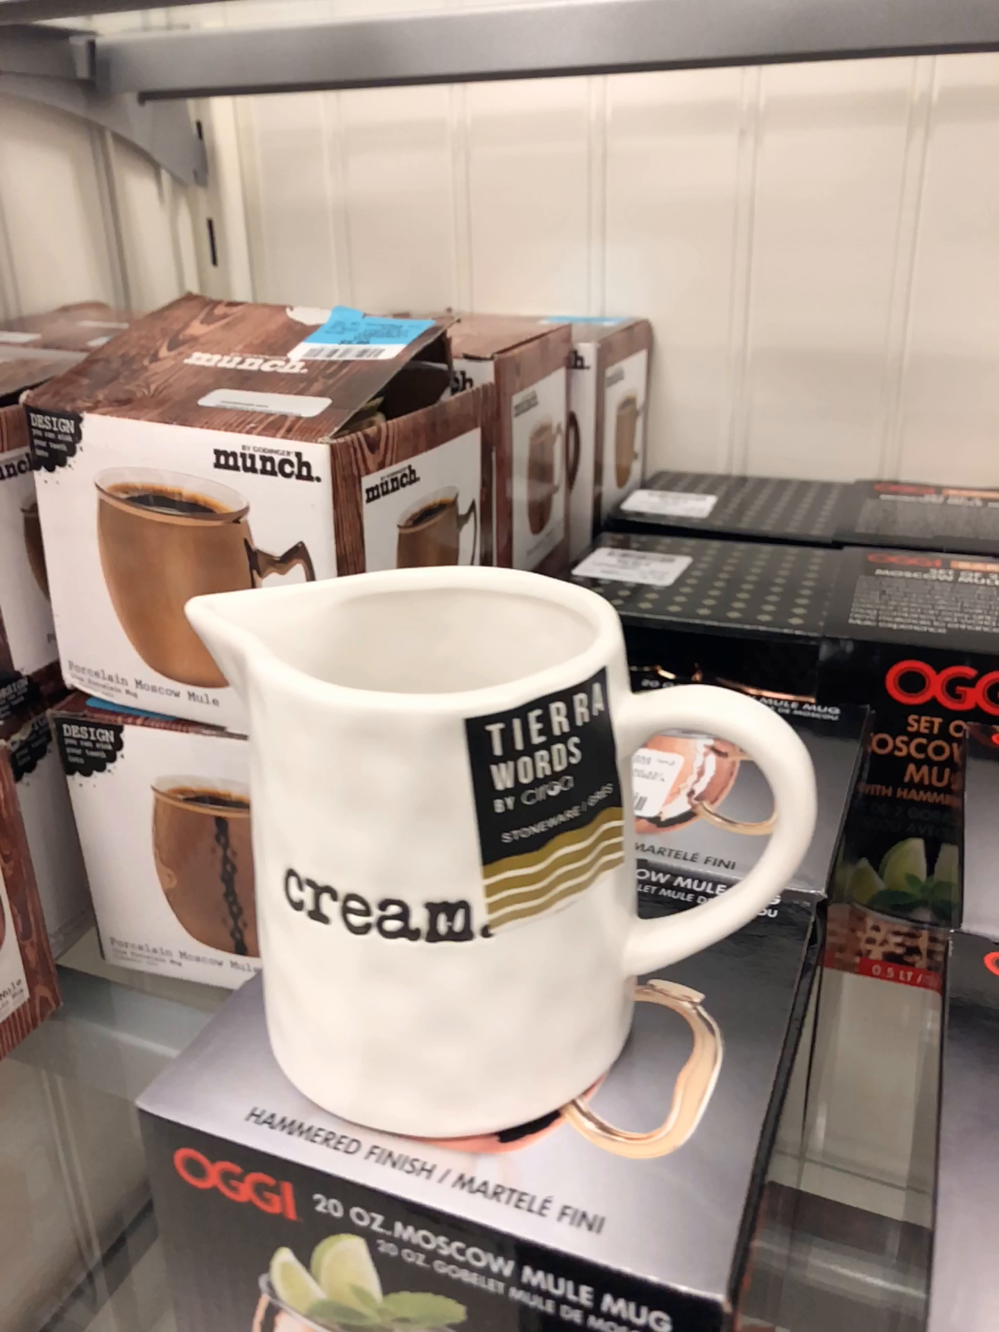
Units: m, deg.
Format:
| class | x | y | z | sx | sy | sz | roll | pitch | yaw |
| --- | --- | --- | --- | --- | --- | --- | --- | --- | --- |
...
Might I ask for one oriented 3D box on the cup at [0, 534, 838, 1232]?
| class | x | y | z | sx | sy | sz | roll | pitch | yaw |
| --- | --- | --- | --- | --- | --- | --- | --- | --- | --- |
| cup | -0.011 | 0.029 | 0.192 | 0.125 | 0.080 | 0.063 | 5 | 24 | 16 |
